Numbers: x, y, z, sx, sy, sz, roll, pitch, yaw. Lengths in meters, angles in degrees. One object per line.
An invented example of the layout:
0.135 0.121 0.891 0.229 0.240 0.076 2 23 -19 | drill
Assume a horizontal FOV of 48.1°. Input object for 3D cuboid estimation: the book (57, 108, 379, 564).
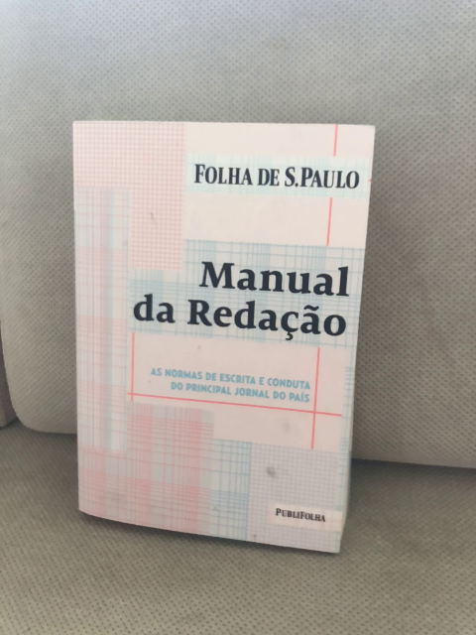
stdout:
-0.013 0.008 0.301 0.166 0.228 0.040 3 9 13 | book
